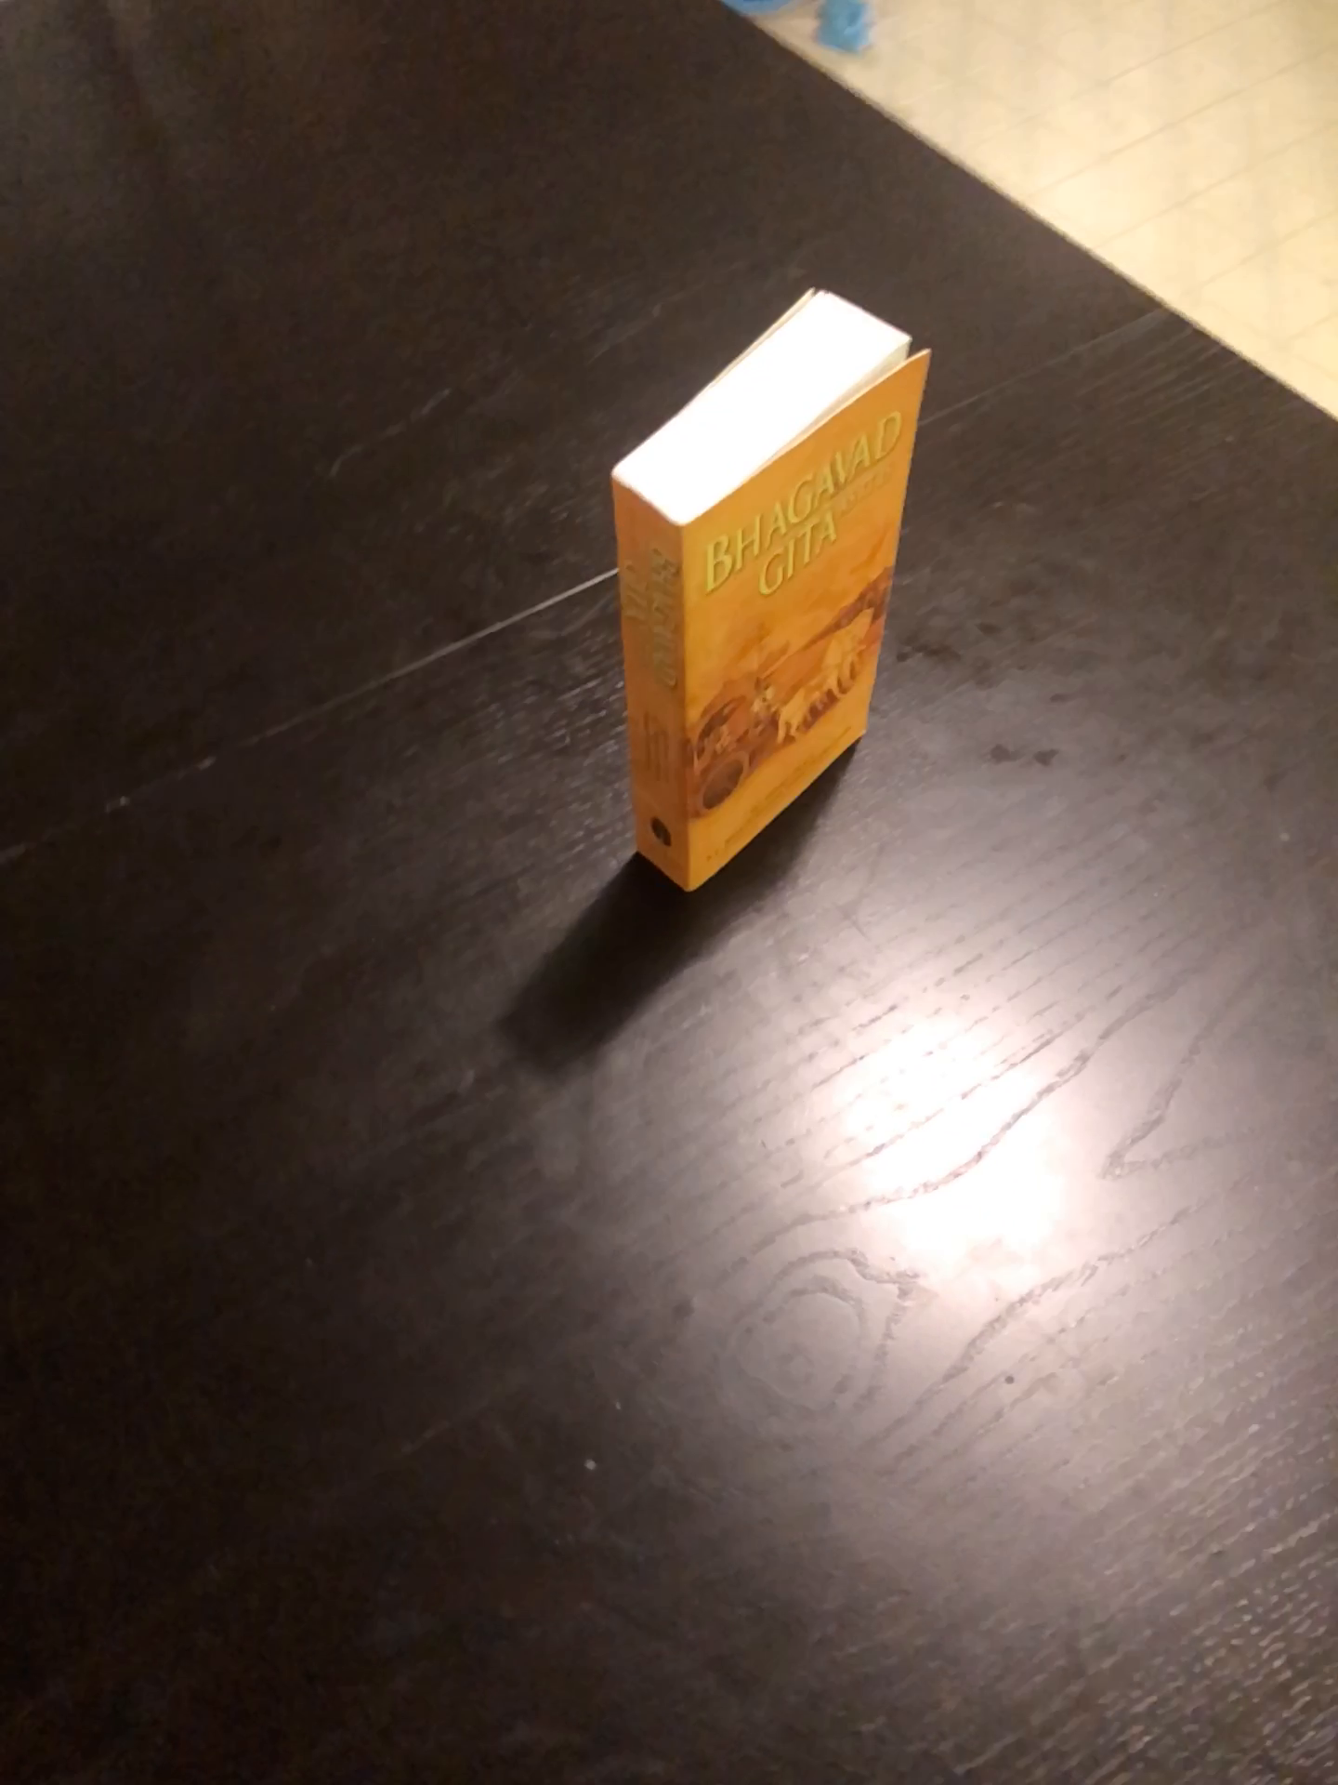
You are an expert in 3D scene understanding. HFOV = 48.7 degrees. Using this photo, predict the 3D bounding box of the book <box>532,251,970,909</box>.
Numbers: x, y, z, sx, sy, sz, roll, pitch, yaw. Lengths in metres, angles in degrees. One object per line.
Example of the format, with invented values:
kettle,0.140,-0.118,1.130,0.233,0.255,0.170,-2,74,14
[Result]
book,0.029,-0.098,0.500,0.059,0.174,0.126,37,64,24
